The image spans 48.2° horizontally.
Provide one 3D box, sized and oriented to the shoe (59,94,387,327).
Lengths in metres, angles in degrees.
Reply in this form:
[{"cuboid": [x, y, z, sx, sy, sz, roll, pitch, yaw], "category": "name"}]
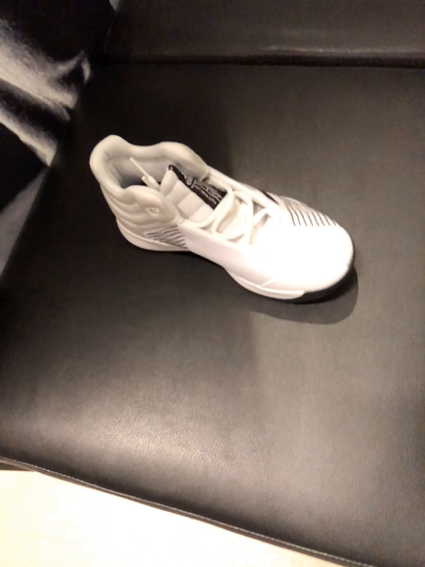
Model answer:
[{"cuboid": [0.011, -0.061, 0.393, 0.220, 0.110, 0.100, 17, 72, 19], "category": "shoe"}]
